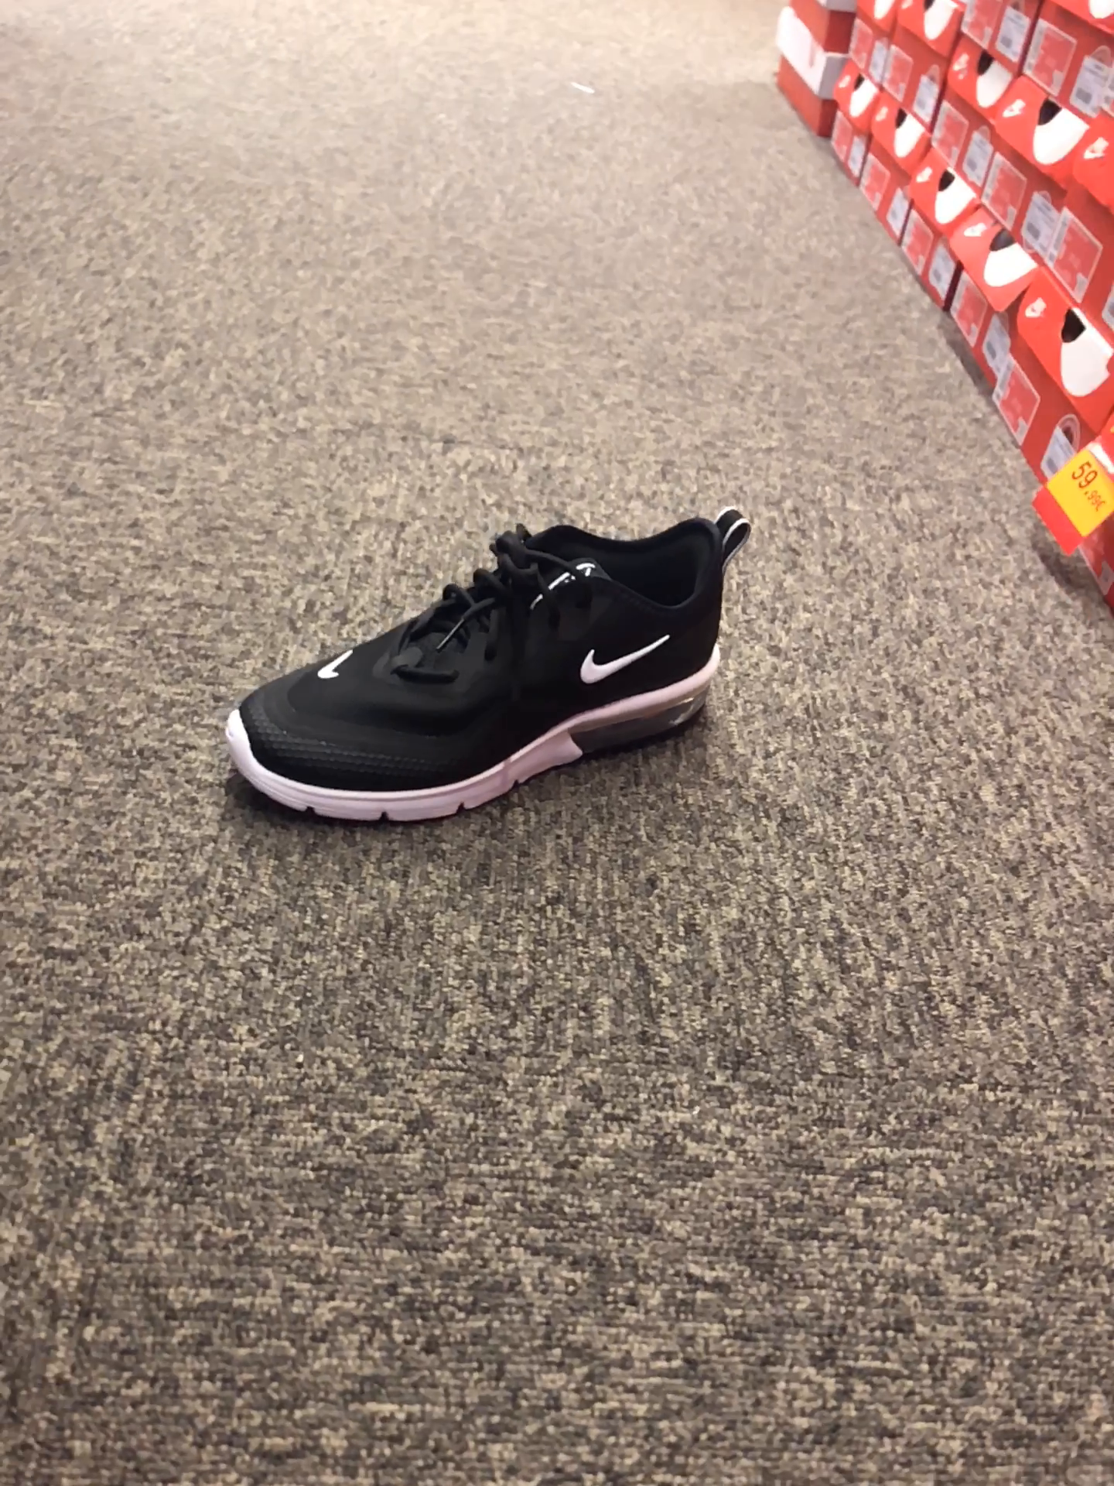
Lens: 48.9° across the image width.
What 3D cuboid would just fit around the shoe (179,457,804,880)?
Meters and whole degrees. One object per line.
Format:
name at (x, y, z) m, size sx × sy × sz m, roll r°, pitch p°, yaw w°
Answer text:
shoe at (-0.029, -0.043, 0.574) m, size 0.257 × 0.109 × 0.100 m, roll -14°, pitch 45°, yaw -22°
